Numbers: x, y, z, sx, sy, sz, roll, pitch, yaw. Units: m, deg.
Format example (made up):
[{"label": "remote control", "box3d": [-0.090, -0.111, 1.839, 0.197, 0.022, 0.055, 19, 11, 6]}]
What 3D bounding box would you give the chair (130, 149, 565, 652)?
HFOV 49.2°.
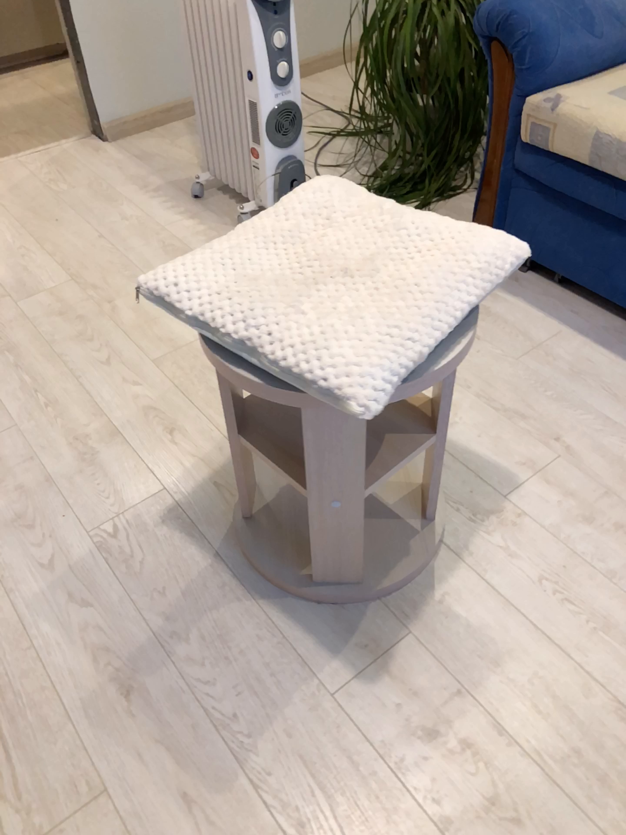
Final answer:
[{"label": "chair", "box3d": [0.042, -0.027, 1.053, 0.401, 0.546, 0.382, -28, 50, -24]}]
